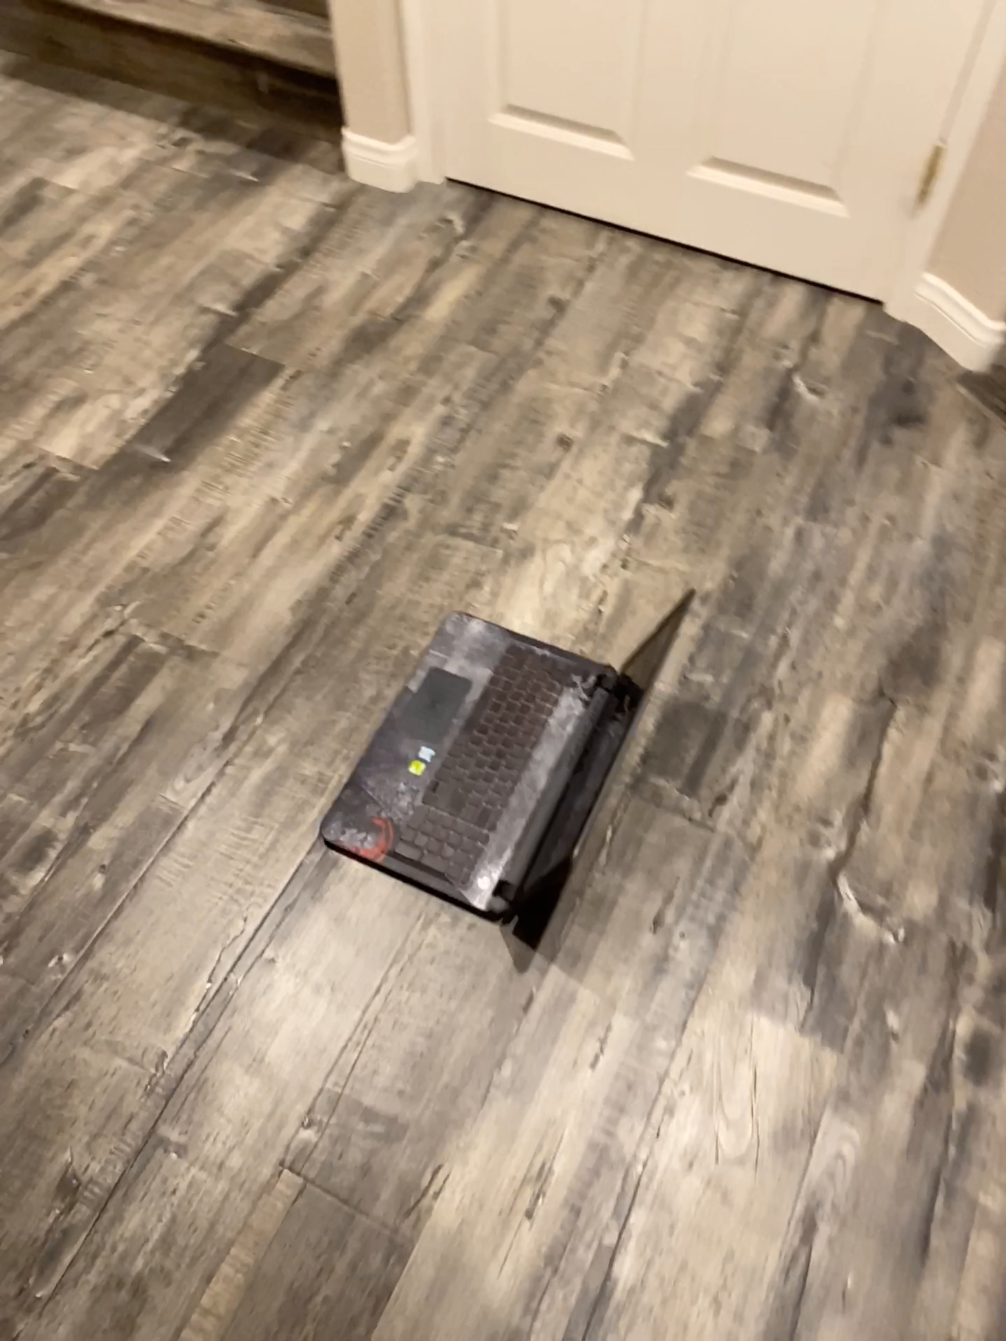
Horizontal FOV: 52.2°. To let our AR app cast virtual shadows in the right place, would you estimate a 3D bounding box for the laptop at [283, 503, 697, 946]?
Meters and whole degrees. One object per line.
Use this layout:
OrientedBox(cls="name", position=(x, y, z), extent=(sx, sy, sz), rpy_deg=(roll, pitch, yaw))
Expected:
OrientedBox(cls="laptop", position=(-0.002, 0.054, 1.209), extent=(0.327, 0.225, 0.372), rpy_deg=(20, 58, 15))
